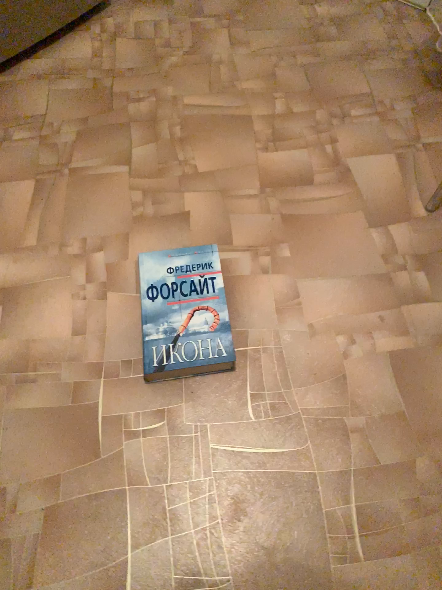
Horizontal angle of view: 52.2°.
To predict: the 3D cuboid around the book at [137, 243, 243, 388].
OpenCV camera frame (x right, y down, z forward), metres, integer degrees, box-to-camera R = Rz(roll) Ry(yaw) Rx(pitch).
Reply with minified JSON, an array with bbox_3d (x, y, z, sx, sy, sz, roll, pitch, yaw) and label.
[{"bbox_3d":[-0.056,0.029,0.752,0.152,0.056,0.224,-7,61,-2],"label":"book"}]
